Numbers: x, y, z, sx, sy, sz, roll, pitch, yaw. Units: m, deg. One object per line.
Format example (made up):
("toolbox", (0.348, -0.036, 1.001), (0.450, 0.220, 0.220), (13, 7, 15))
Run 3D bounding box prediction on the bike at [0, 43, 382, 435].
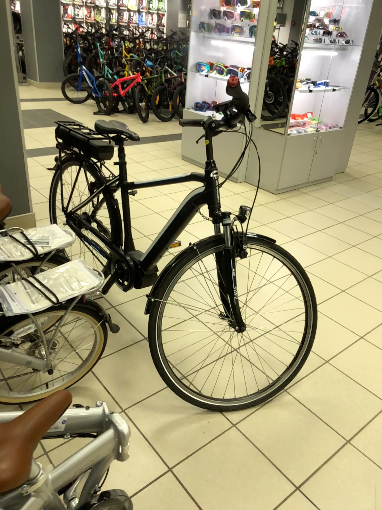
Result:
("bike", (-0.166, -0.227, 1.984), (1.613, 1.176, 0.699), (24, 33, 29))
